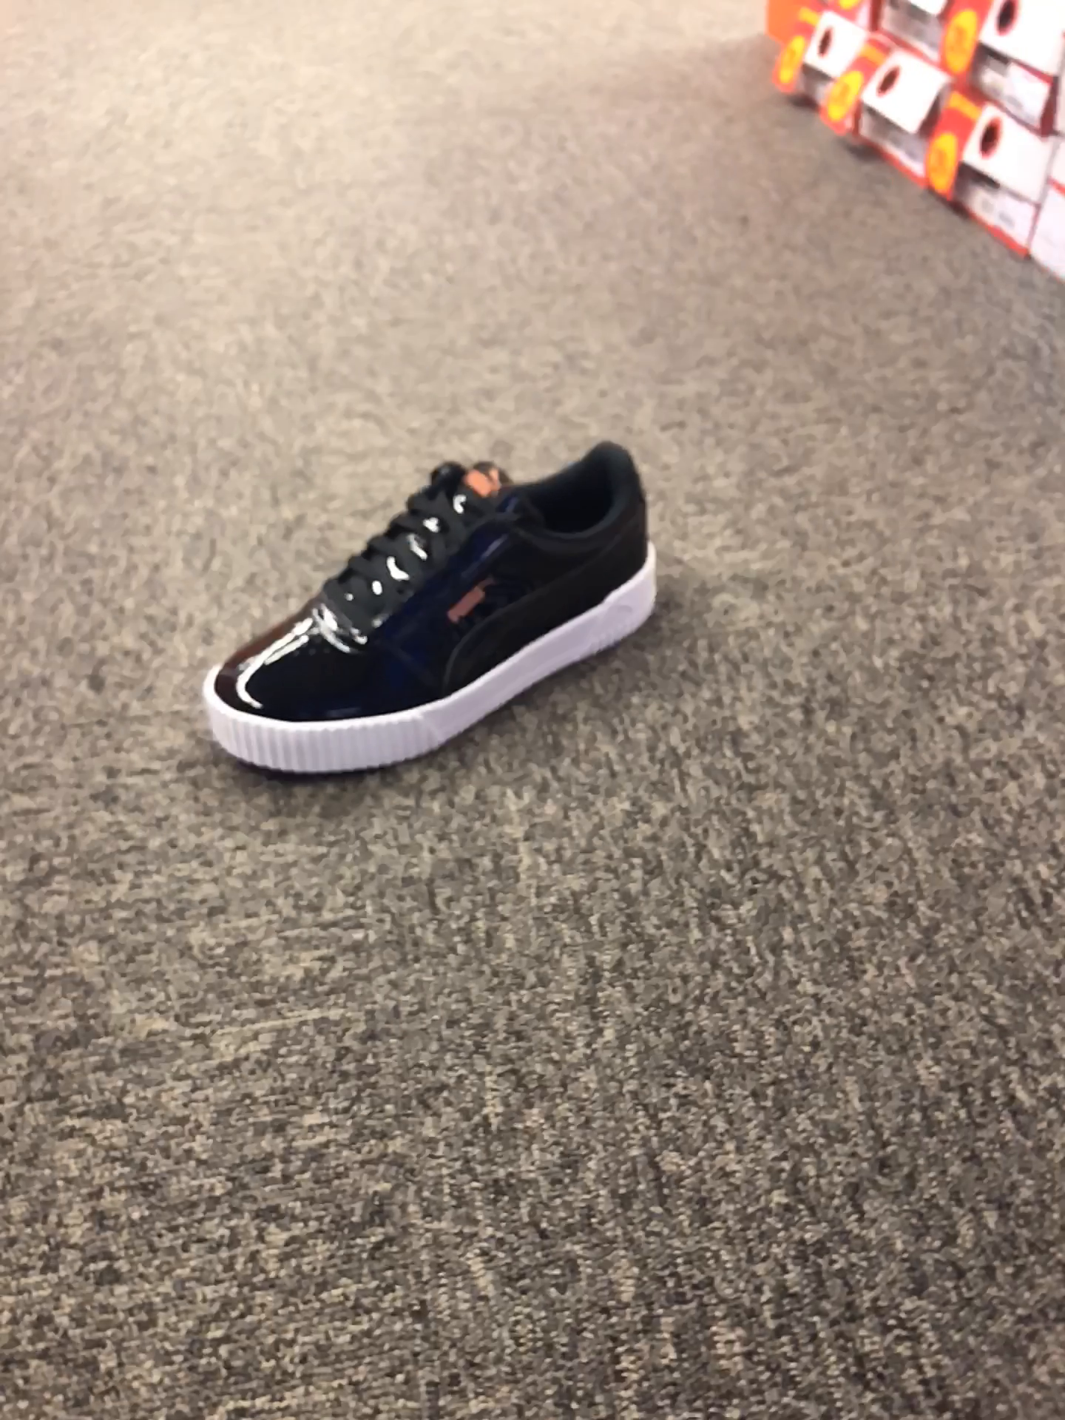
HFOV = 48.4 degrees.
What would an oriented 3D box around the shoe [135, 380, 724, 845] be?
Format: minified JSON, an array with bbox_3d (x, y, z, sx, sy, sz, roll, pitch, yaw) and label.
[{"bbox_3d":[-0.040,-0.057,0.584,0.261,0.099,0.100,-27,46,-22],"label":"shoe"}]
